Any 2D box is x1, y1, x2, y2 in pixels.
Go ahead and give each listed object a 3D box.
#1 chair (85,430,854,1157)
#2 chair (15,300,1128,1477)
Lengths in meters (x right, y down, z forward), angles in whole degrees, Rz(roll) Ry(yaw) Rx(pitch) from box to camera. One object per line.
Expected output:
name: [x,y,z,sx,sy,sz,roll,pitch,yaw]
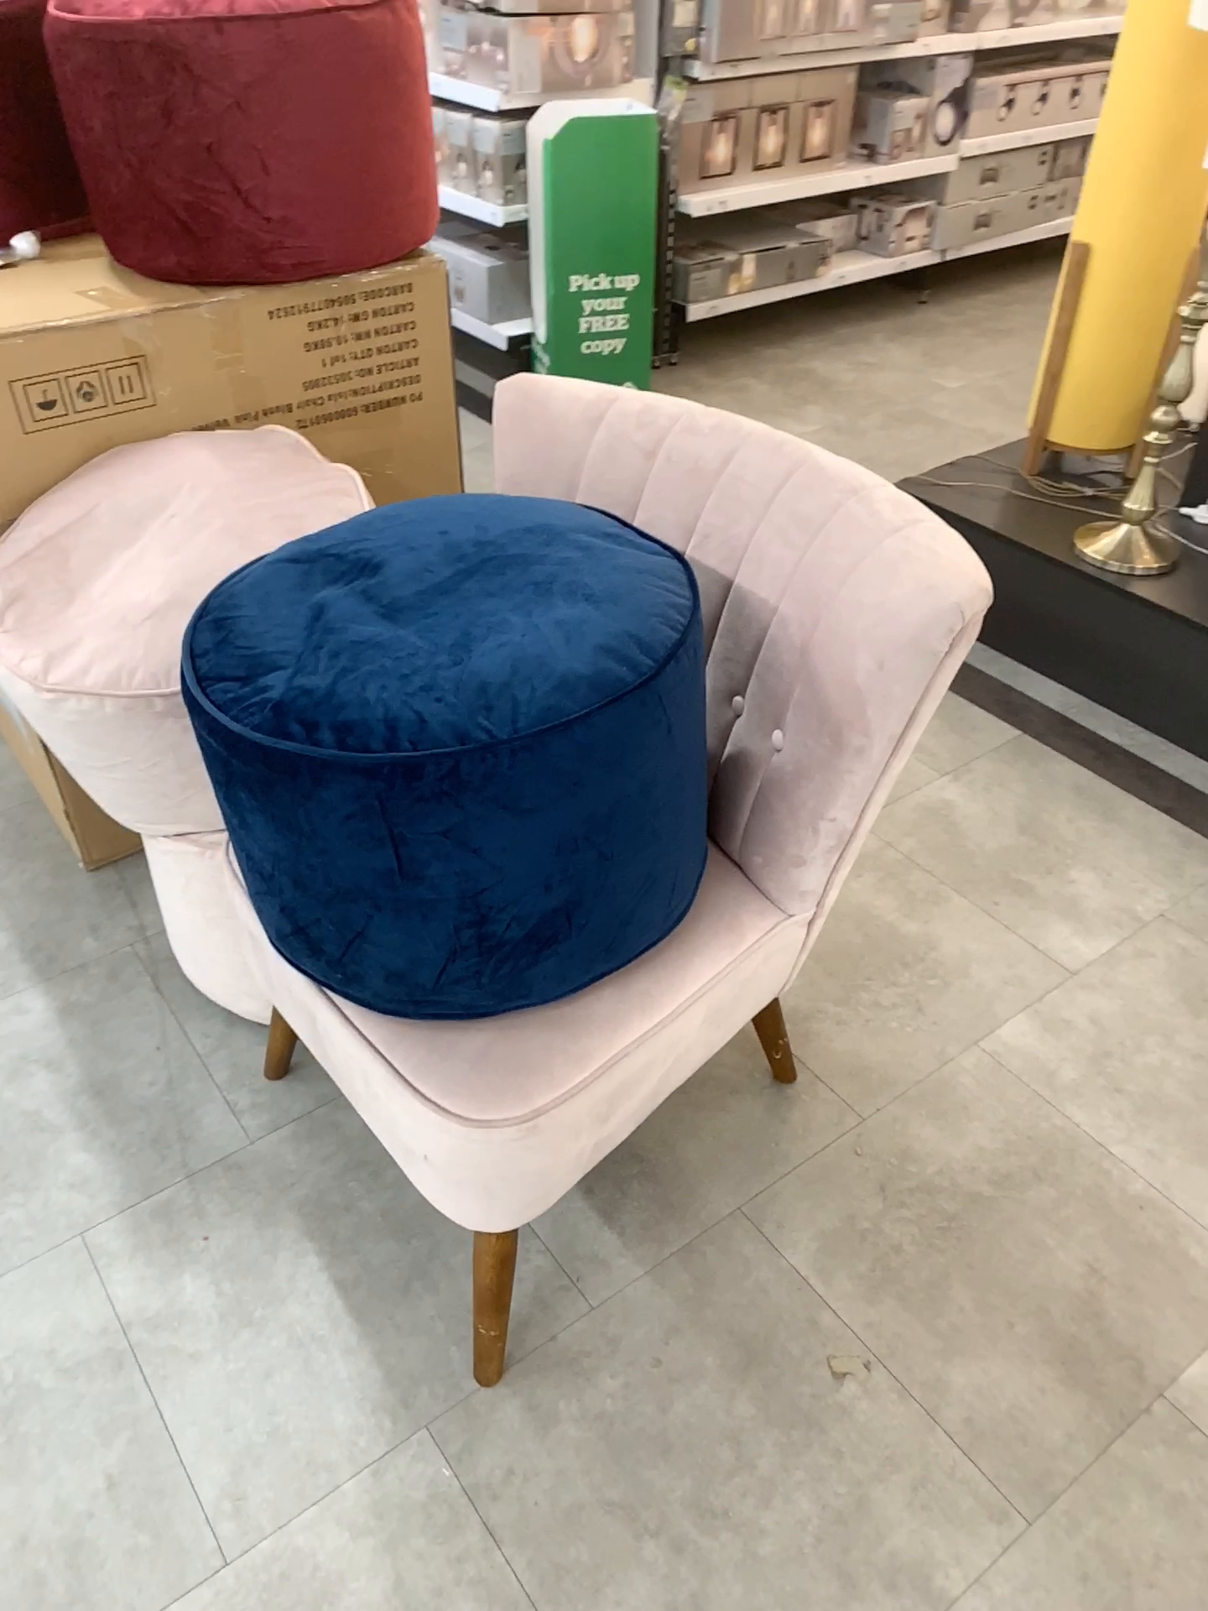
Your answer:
chair: [-0.132,-0.059,1.192,0.505,0.363,0.478,-23,44,-27]
chair: [-0.043,0.030,1.350,0.746,0.848,0.659,-25,45,-29]
